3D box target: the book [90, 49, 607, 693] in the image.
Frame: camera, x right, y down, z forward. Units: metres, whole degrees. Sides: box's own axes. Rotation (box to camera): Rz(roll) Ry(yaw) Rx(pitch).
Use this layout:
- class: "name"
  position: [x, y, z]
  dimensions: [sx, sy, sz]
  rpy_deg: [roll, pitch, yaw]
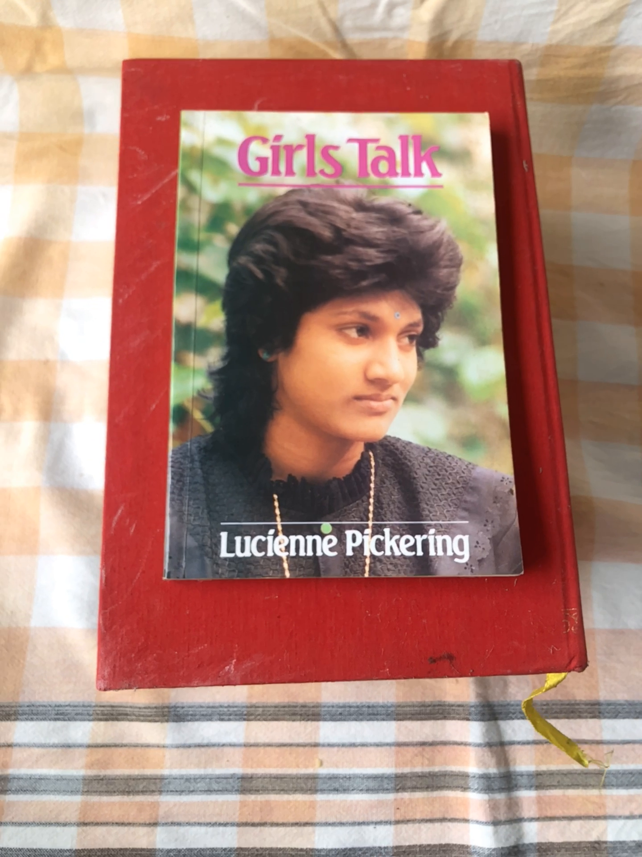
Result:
- class: "book"
  position: [0.006, -0.032, 0.286]
  dimensions: [0.174, 0.031, 0.249]
  rpy_deg: [-2, 77, -2]

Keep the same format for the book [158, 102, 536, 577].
- class: "book"
  position: [0.007, -0.037, 0.278]
  dimensions: [0.130, 0.025, 0.182]
  rpy_deg: [-1, 78, -2]
